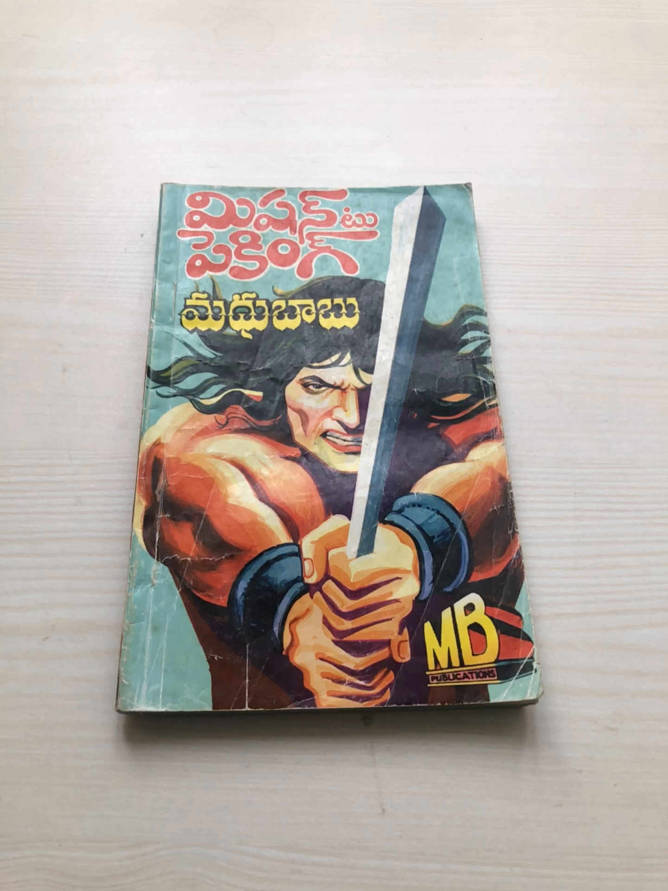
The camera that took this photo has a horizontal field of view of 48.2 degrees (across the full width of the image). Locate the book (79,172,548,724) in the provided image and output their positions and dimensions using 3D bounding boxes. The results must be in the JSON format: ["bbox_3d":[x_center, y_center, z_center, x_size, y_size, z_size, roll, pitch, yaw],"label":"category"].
[{"bbox_3d":[-0.006,-0.006,0.205,0.100,0.030,0.151,-1,65,-1],"label":"book"}]
